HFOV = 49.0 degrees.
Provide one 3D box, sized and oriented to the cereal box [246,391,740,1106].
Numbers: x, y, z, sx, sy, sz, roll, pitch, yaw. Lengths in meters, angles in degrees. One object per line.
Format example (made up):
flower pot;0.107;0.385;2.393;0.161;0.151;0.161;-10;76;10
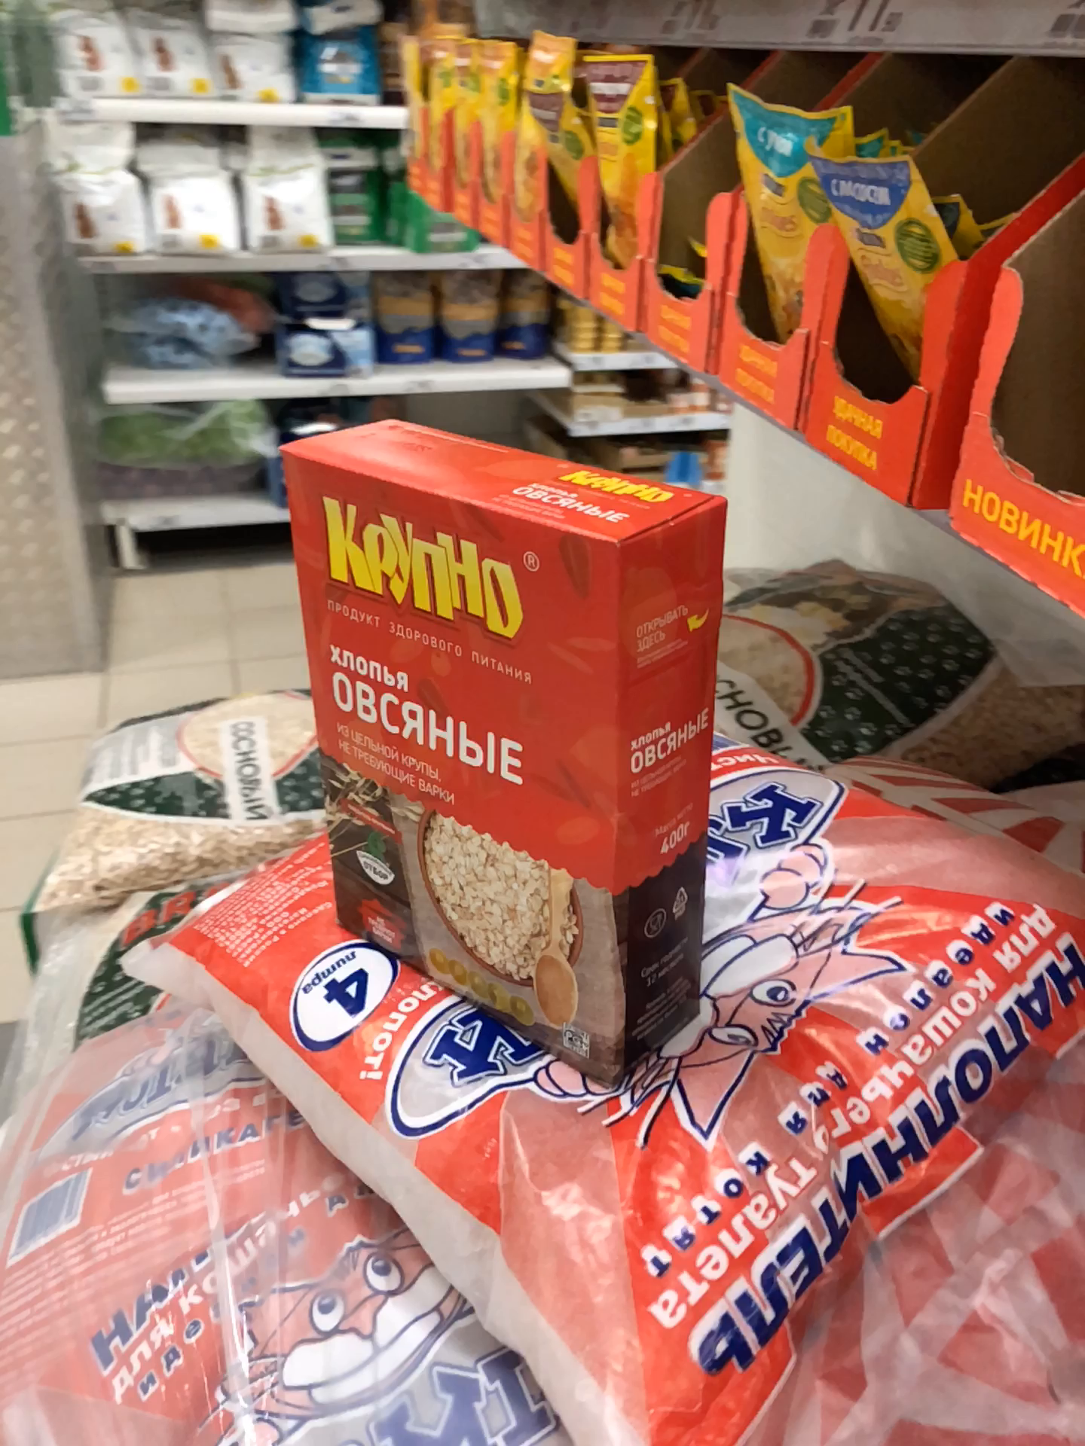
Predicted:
cereal box;-0.020;0.004;0.409;0.150;0.199;0.060;23;36;36
